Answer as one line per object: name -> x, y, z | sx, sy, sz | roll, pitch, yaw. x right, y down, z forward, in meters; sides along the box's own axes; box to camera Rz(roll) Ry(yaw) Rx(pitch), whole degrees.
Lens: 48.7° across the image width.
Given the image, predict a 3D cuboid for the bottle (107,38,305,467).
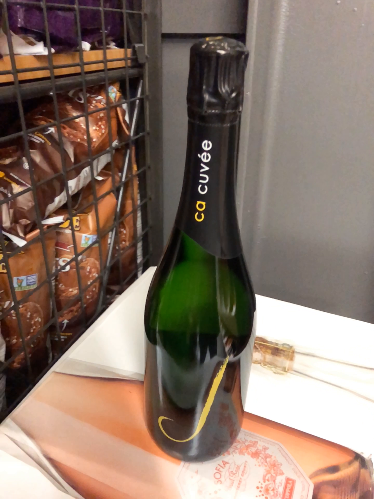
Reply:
bottle -> 0.011, 0.013, 0.292 | 0.090, 0.289, 0.090 | 0, 27, 0
